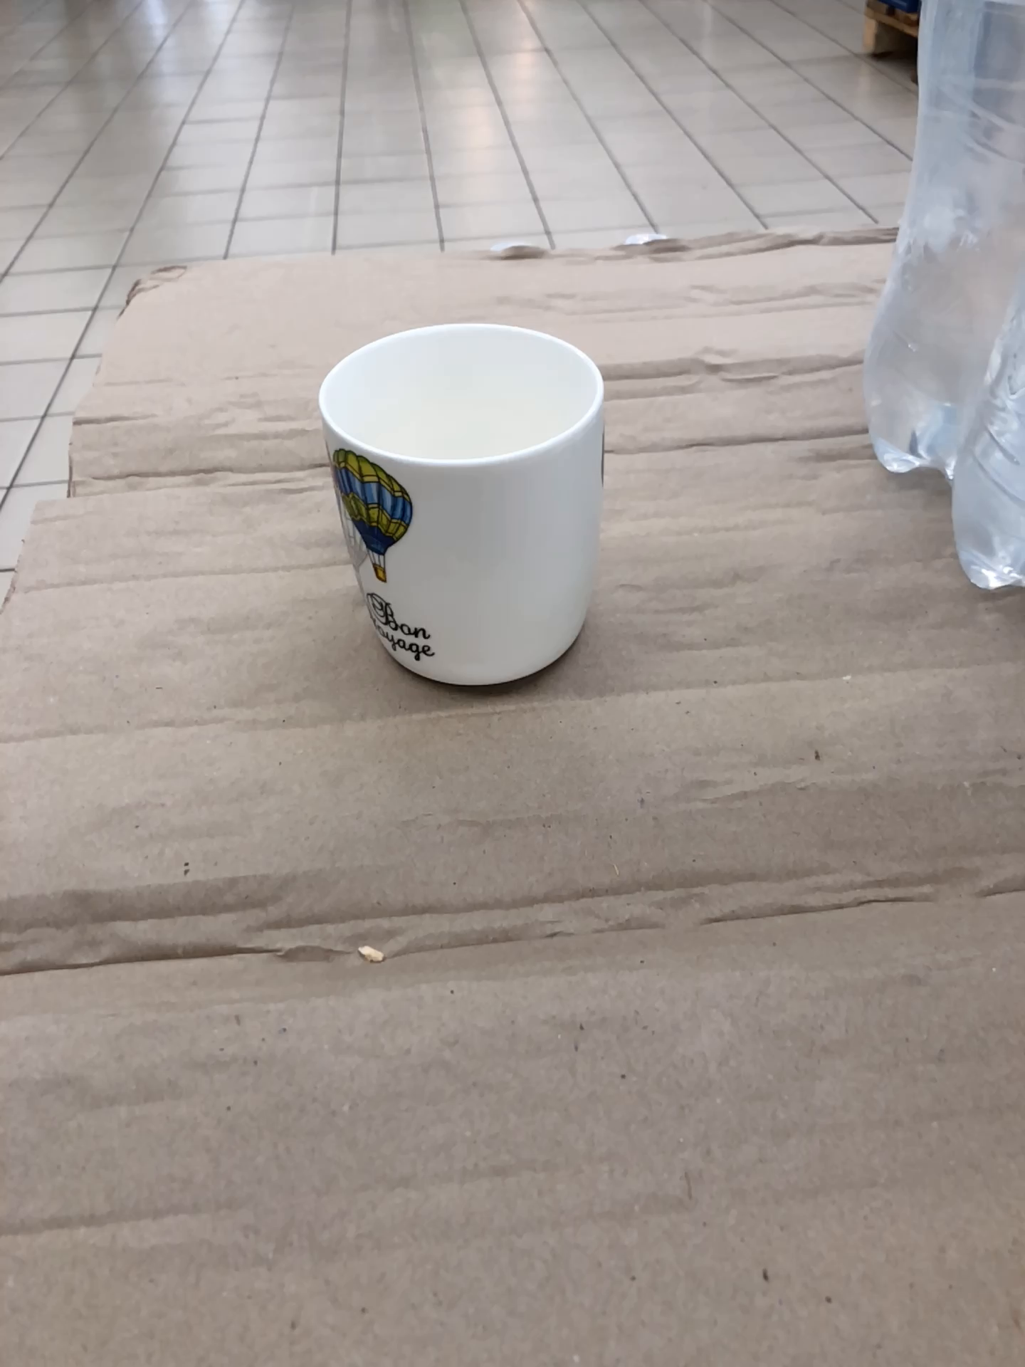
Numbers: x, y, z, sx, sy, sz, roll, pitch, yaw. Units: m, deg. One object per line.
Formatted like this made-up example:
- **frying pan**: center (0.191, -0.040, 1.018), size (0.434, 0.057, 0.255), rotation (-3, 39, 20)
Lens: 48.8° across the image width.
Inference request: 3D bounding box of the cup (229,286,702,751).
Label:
- **cup**: center (-0.018, -0.063, 0.379), size (0.093, 0.082, 0.132), rotation (-25, 44, -24)
